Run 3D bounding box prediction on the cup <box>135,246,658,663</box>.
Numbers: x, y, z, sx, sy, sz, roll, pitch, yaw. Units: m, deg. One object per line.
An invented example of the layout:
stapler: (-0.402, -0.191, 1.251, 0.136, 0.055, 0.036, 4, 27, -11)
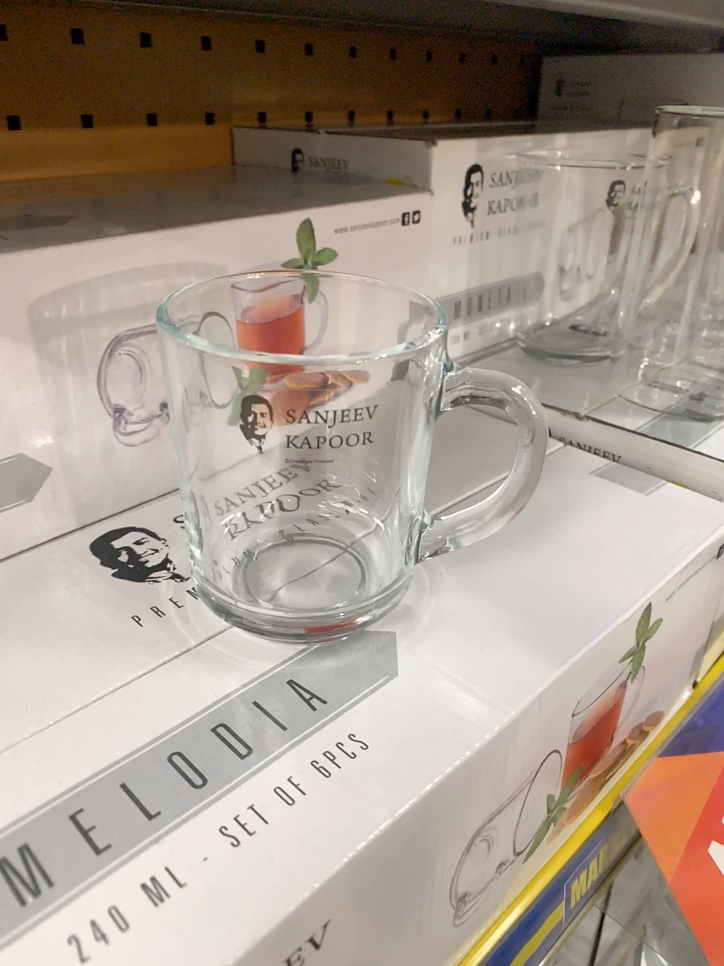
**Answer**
cup: (0.003, -0.012, 0.191, 0.100, 0.080, 0.070, -2, 28, -7)
